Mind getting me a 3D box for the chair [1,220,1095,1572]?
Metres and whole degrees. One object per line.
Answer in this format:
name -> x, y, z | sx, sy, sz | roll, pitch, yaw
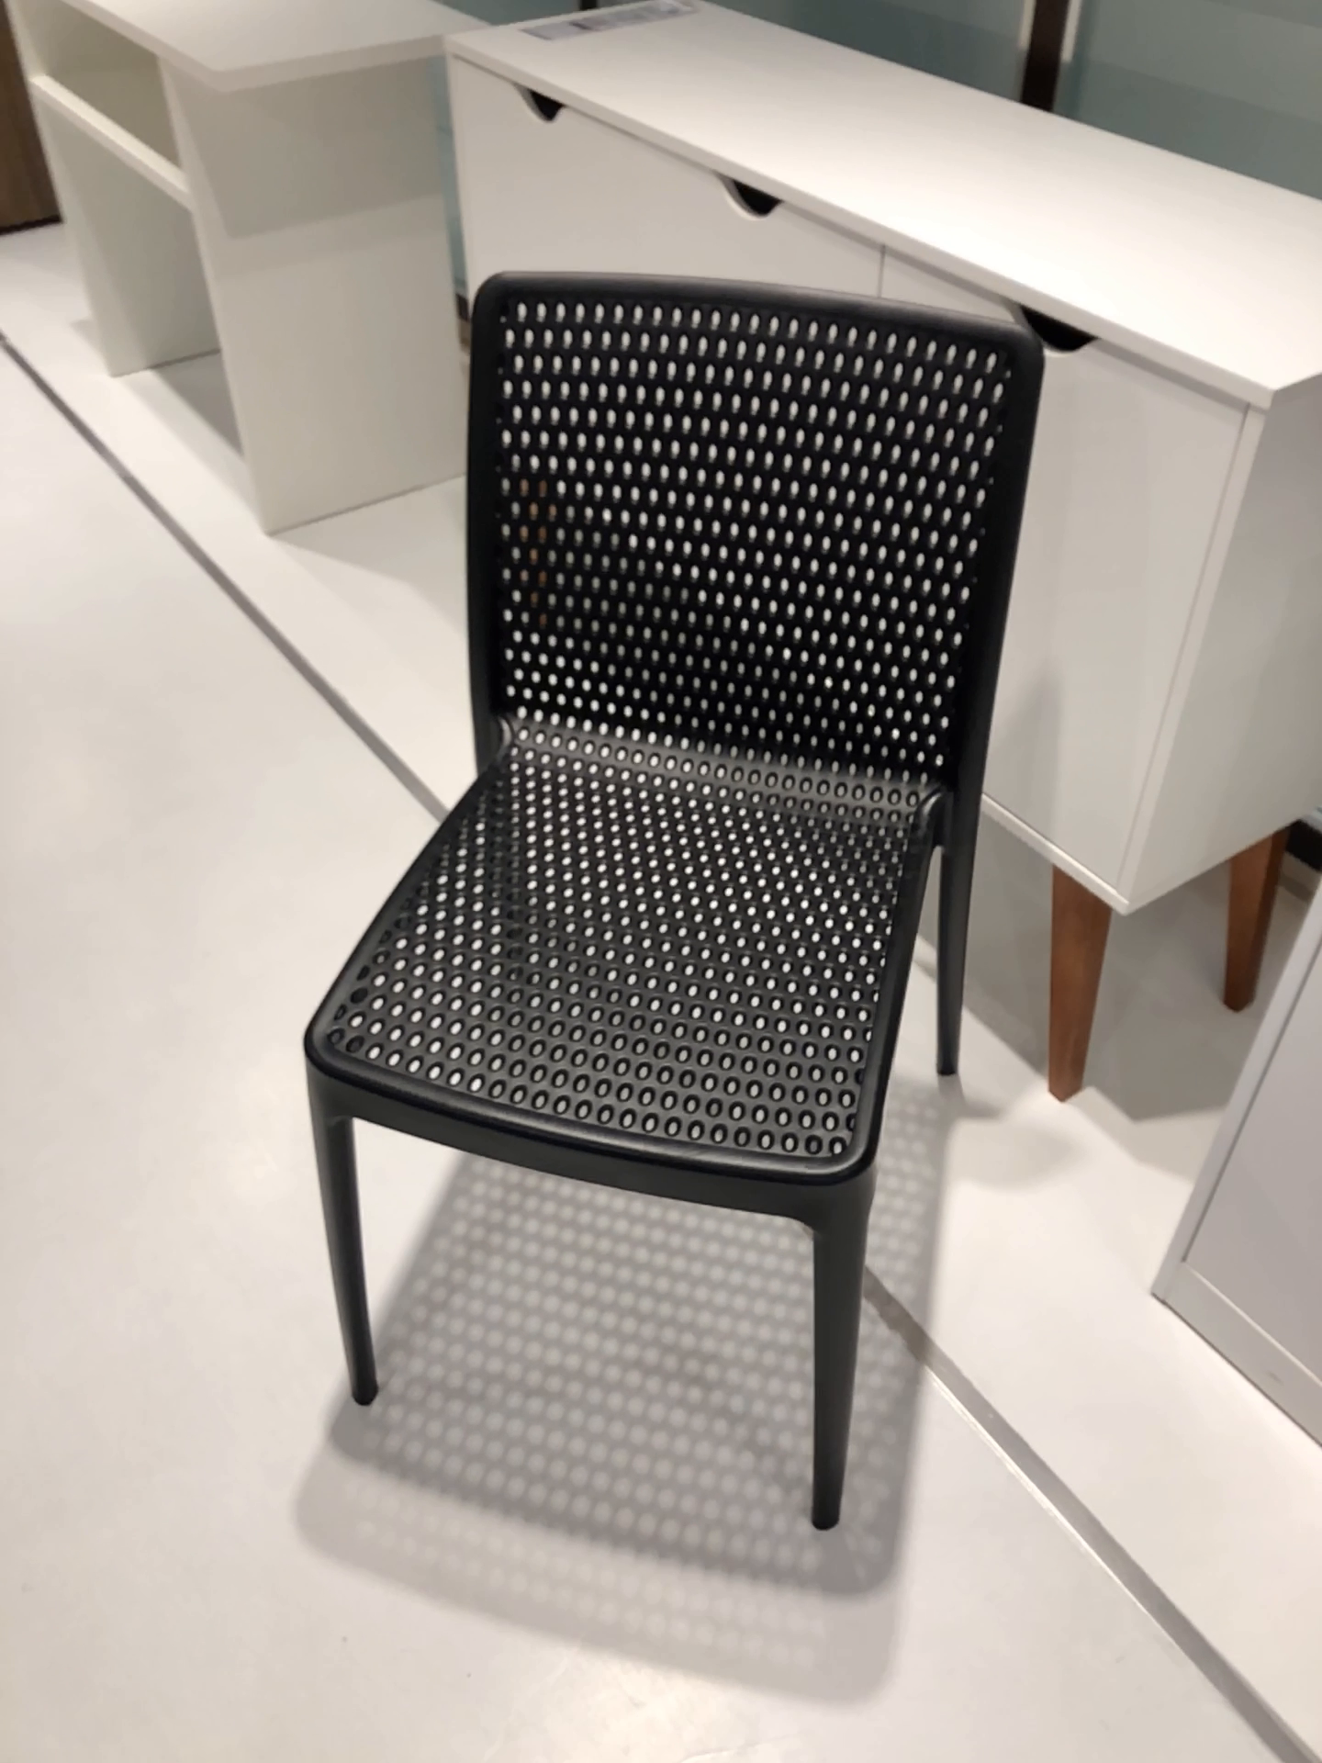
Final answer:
chair -> -0.007, 0.023, 1.211 | 0.530, 0.864, 0.604 | 10, 43, 11
